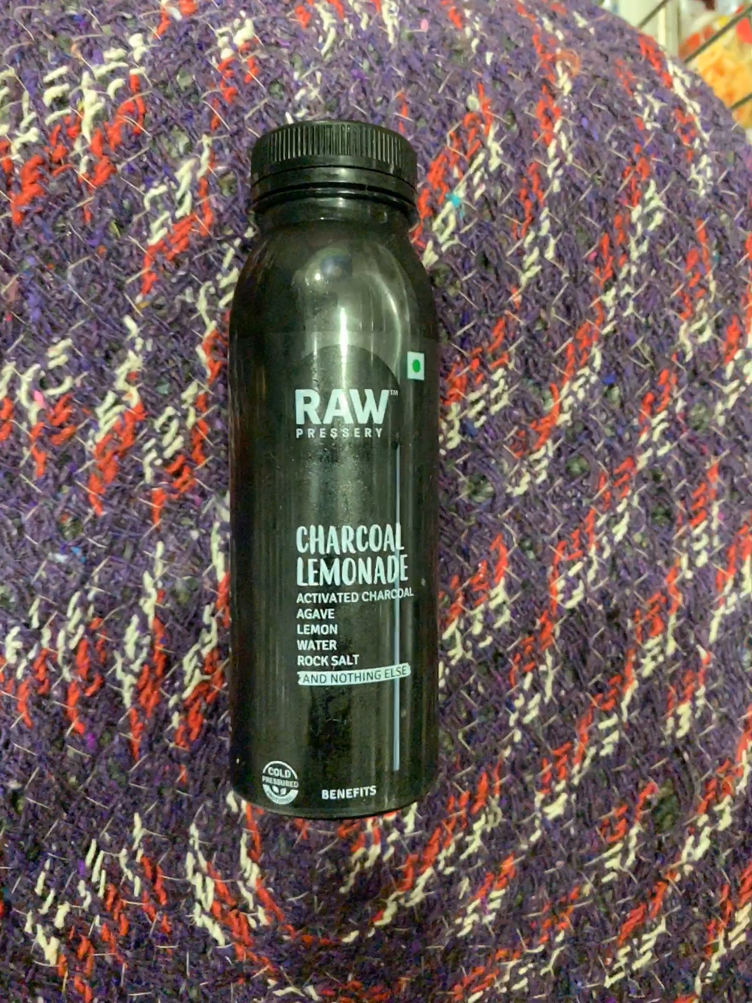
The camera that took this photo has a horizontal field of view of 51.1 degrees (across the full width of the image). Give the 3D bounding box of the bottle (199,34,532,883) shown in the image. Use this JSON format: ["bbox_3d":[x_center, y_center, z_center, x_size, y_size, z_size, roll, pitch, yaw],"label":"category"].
[{"bbox_3d":[-0.007,-0.006,0.180,0.060,0.050,0.160,1,96,-15],"label":"bottle"}]
